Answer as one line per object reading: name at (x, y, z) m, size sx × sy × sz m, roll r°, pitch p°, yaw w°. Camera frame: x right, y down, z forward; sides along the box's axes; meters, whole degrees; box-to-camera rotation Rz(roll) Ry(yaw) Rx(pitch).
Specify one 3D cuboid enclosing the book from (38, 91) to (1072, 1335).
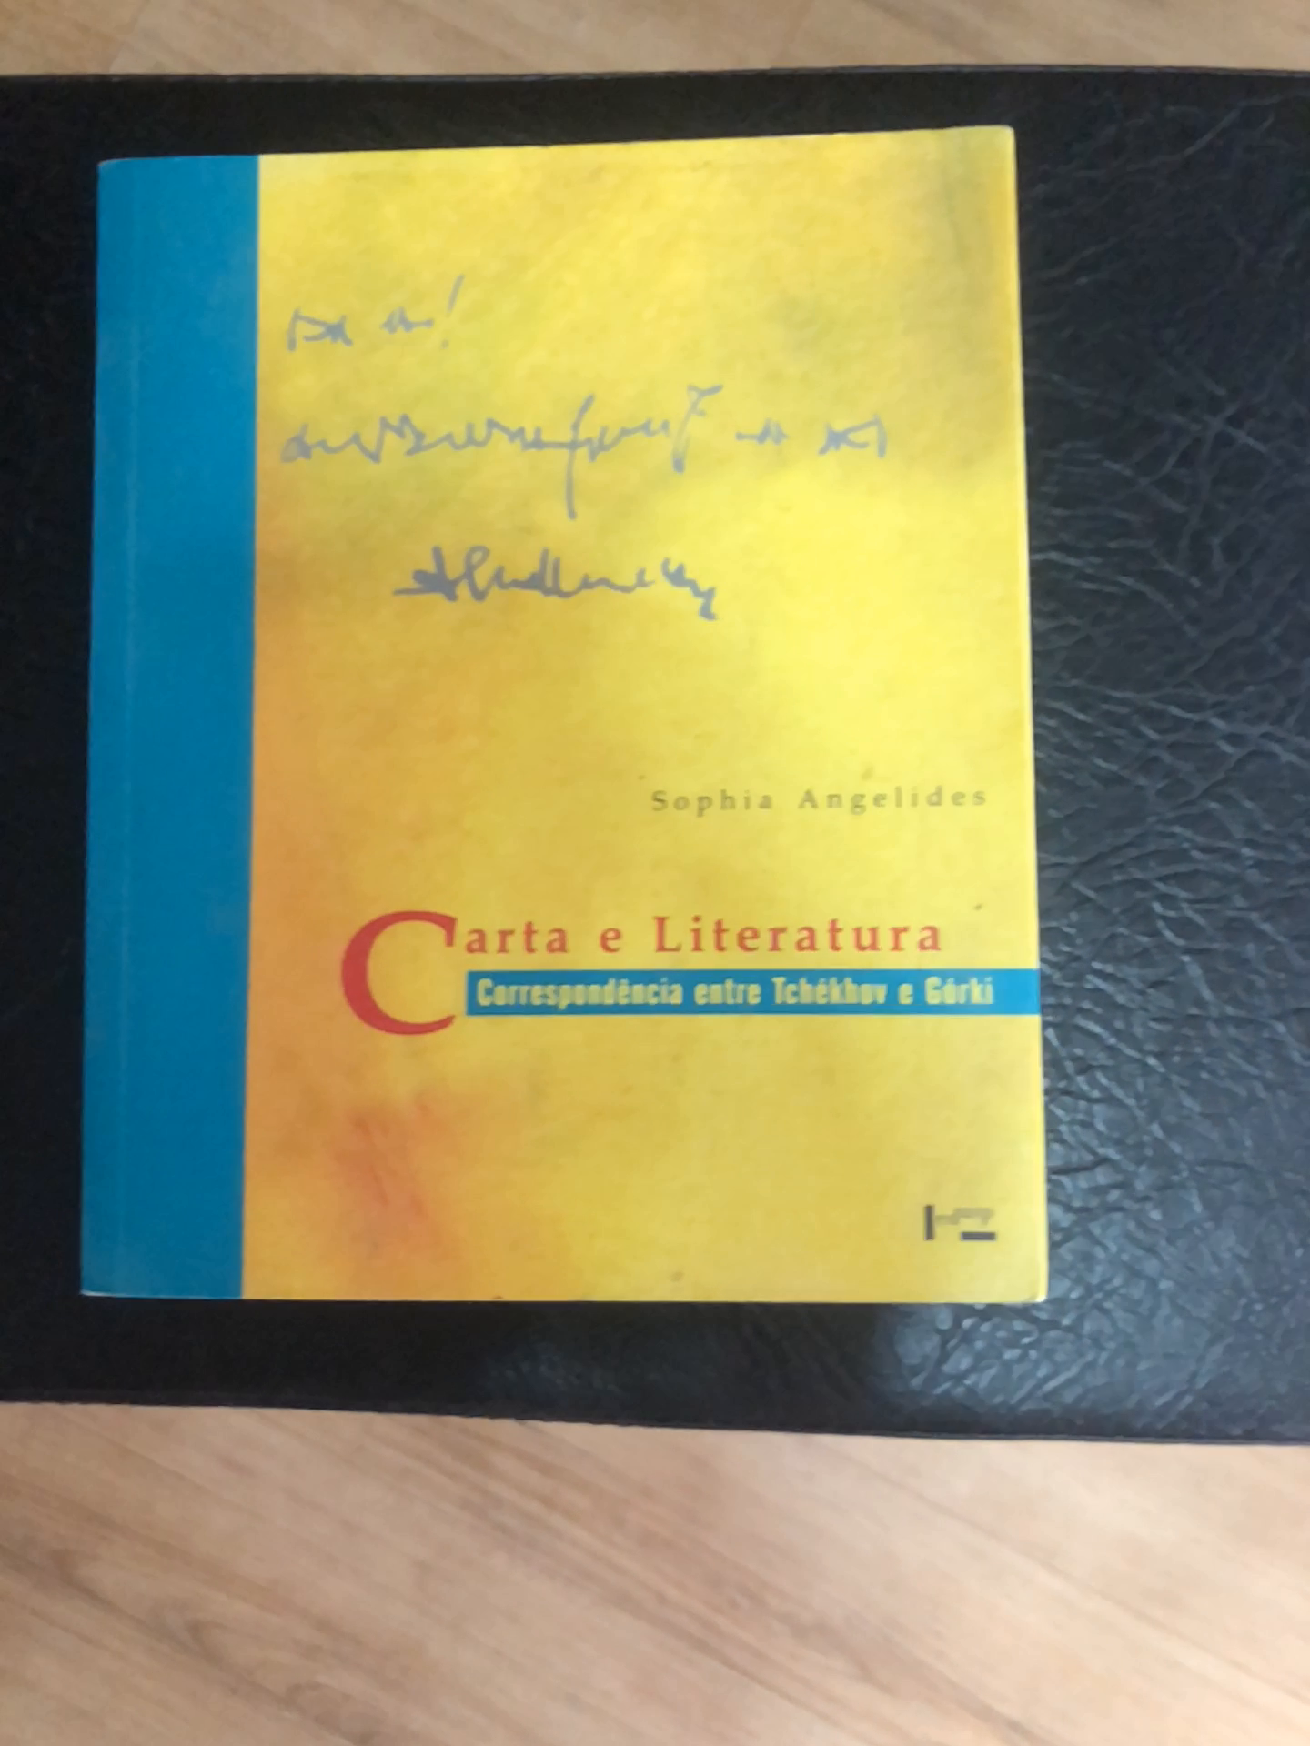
book at (-0.018, -0.028, 0.261) m, size 0.173 × 0.024 × 0.208 m, roll 0°, pitch 87°, yaw 4°
